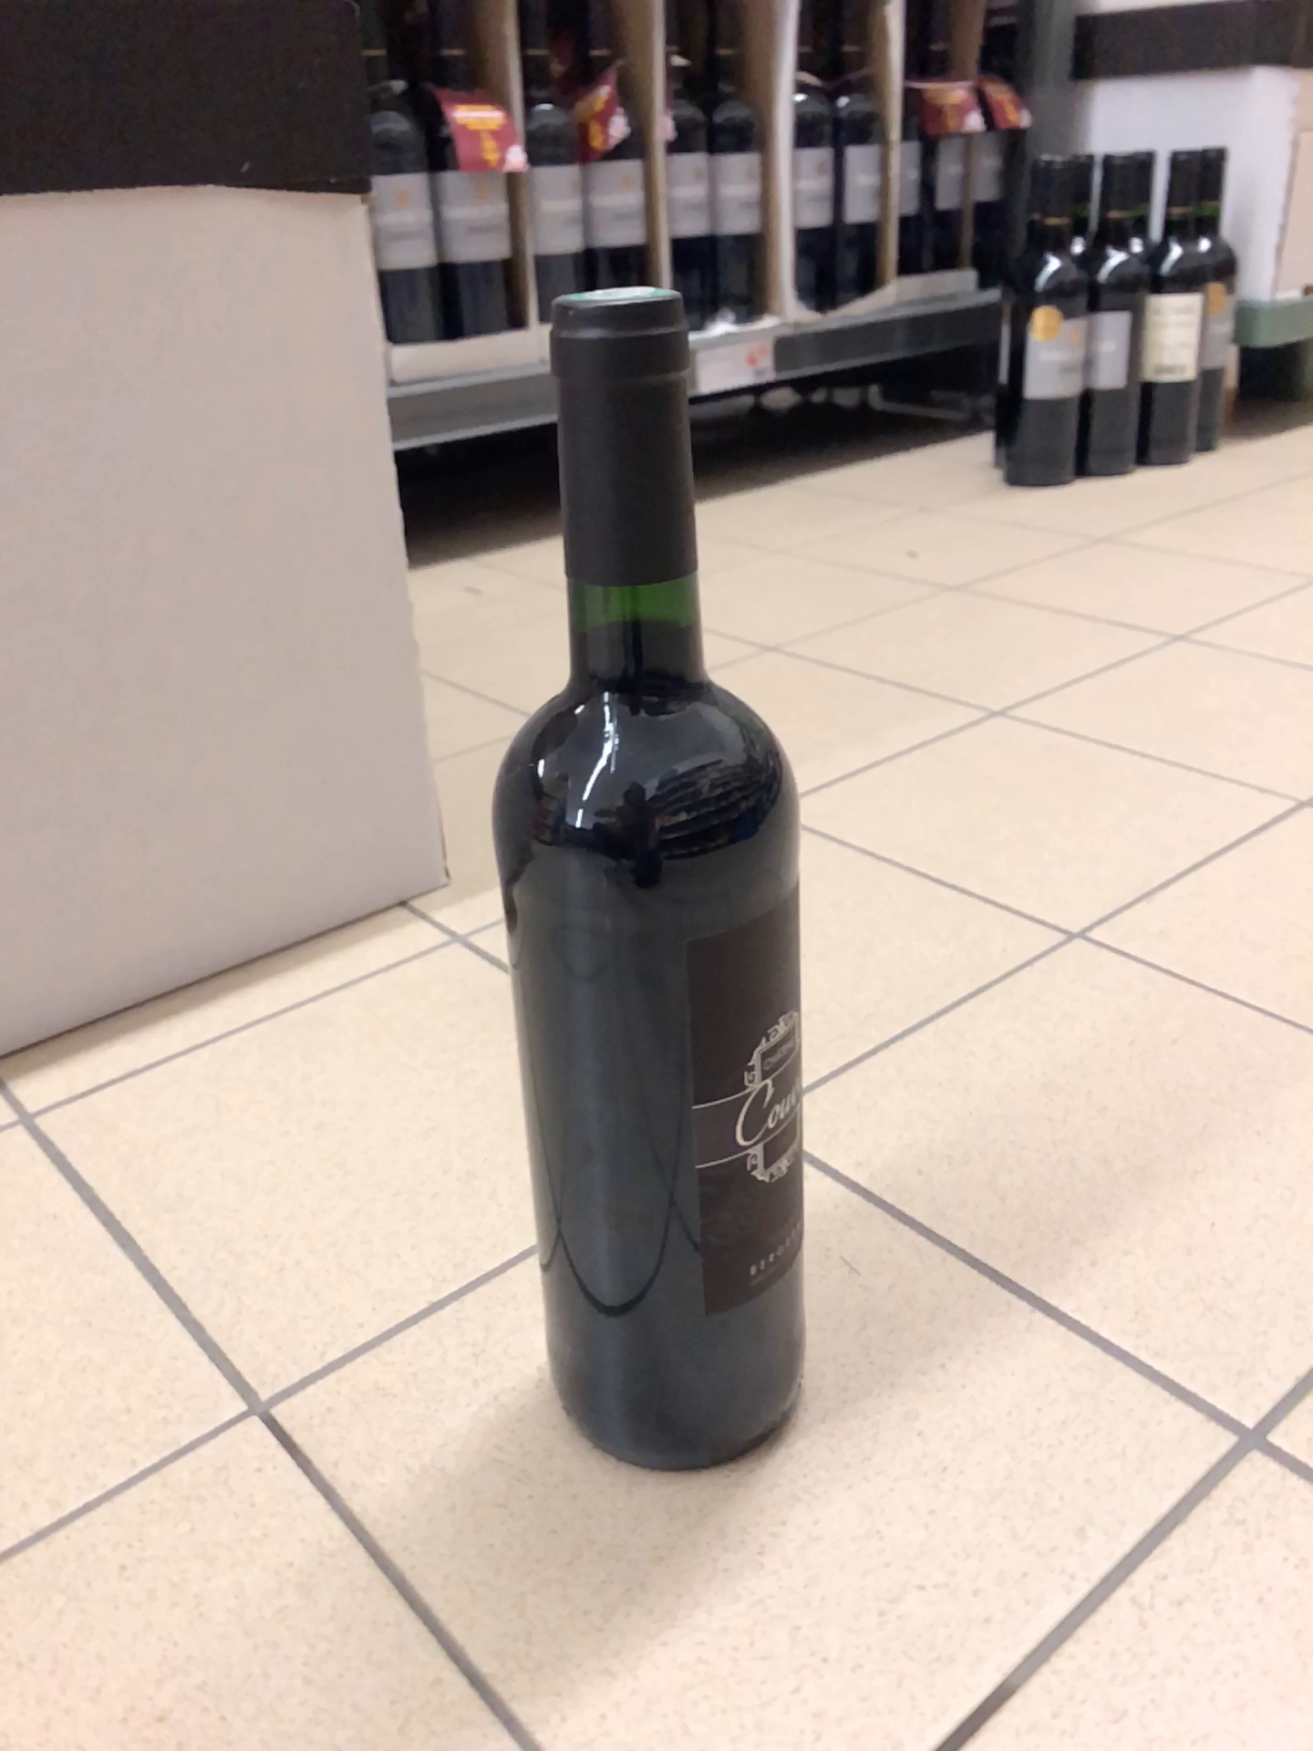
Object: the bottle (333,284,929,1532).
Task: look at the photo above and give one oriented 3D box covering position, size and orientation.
[{"bbox_3d":[0.004,0.011,0.365,0.090,0.288,0.091,-2,26,1],"label":"bottle"}]
